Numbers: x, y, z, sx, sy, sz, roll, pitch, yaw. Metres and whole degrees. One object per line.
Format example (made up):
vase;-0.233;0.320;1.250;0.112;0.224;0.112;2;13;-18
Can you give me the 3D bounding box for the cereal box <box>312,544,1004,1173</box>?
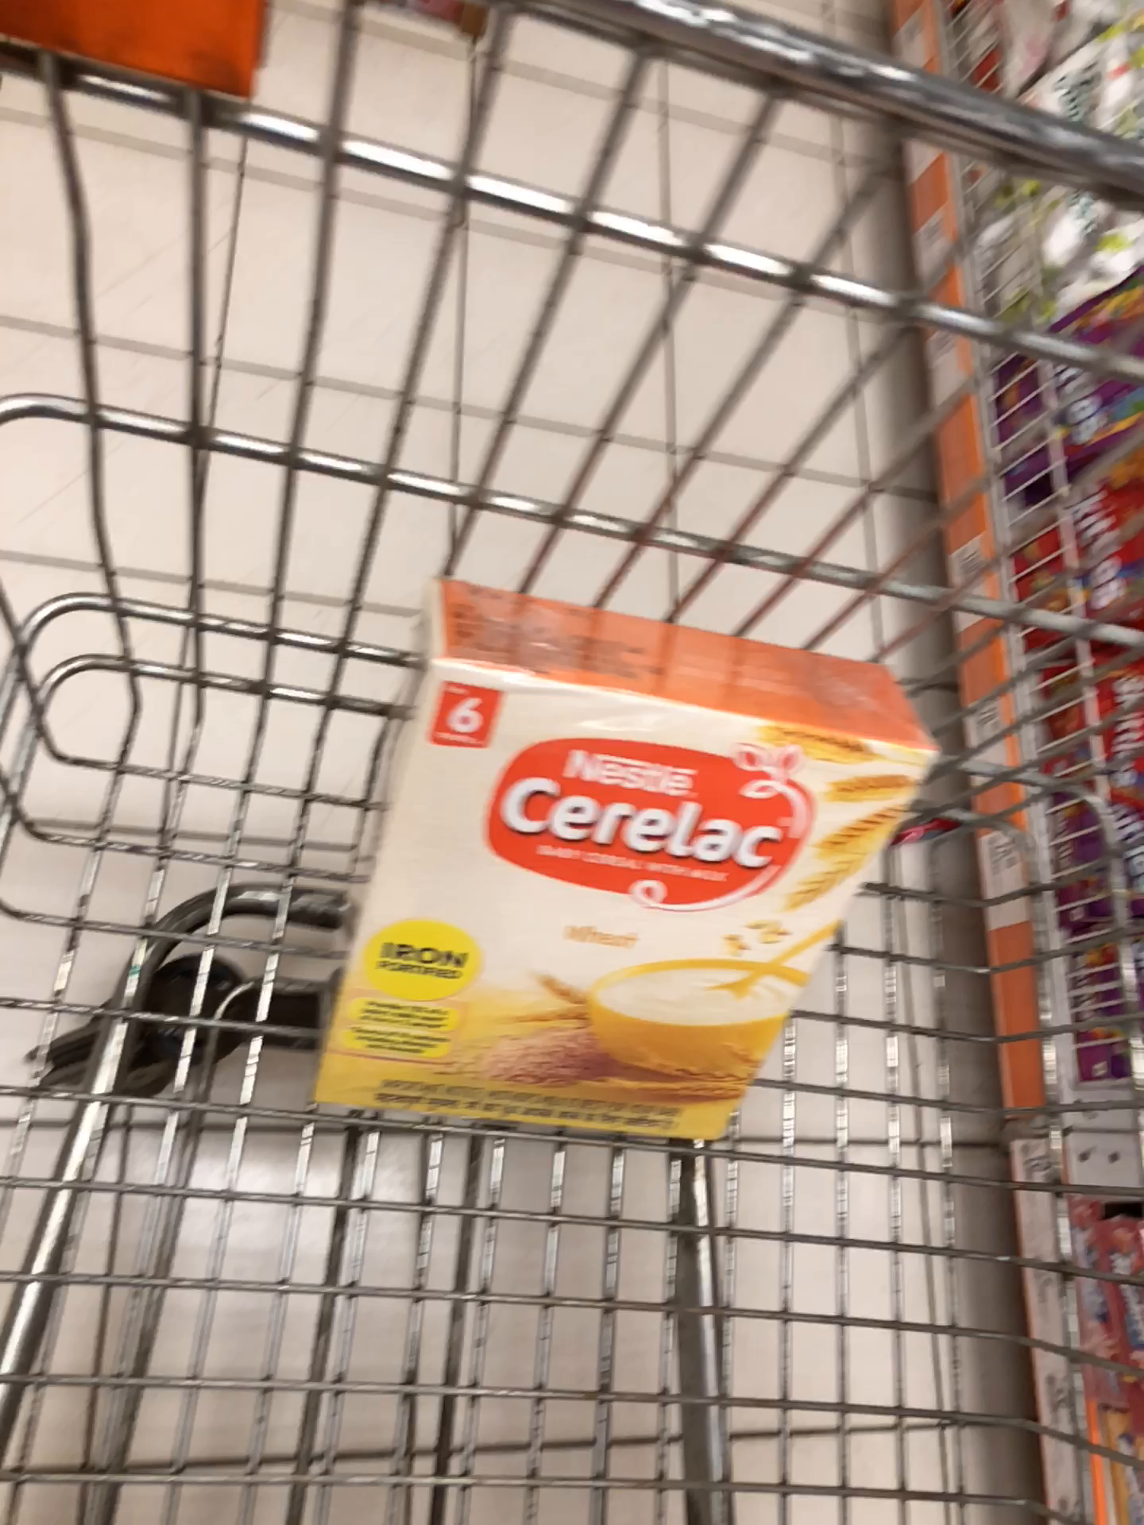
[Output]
cereal box;0.014;0.041;0.379;0.150;0.179;0.050;10;33;-15
